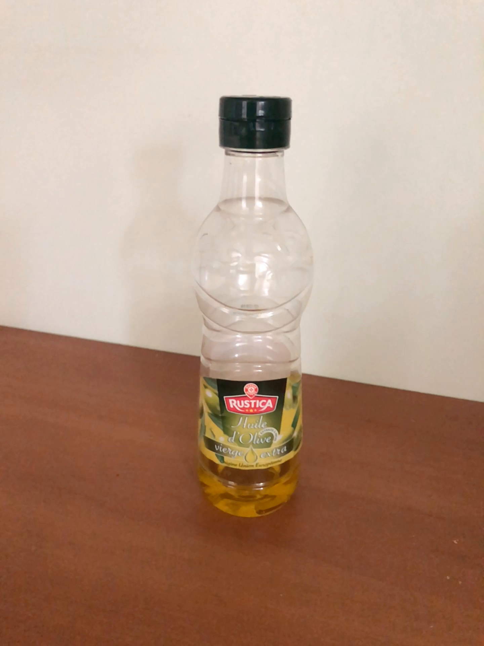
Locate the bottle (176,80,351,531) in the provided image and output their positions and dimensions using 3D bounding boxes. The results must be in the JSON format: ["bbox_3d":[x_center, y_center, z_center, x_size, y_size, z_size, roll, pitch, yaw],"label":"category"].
[{"bbox_3d":[0.008,-0.002,0.297,0.070,0.239,0.070,1,25,0],"label":"bottle"}]
